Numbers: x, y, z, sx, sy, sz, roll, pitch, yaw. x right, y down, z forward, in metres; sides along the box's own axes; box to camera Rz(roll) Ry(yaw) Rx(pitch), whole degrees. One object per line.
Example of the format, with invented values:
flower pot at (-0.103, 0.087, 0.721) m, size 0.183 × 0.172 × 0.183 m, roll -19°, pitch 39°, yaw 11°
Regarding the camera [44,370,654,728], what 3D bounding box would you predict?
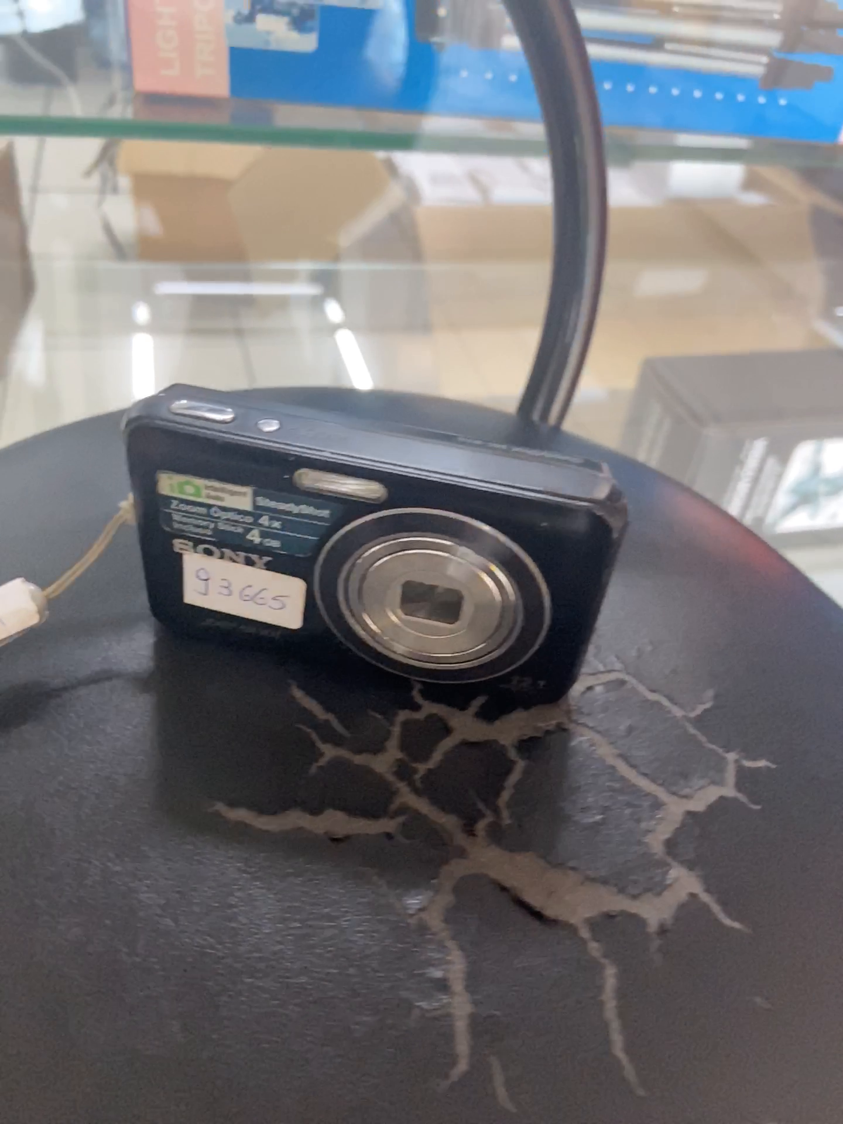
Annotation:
camera at (-0.015, -0.002, 0.179) m, size 0.110 × 0.050 × 0.020 m, roll 11°, pitch 40°, yaw 5°
